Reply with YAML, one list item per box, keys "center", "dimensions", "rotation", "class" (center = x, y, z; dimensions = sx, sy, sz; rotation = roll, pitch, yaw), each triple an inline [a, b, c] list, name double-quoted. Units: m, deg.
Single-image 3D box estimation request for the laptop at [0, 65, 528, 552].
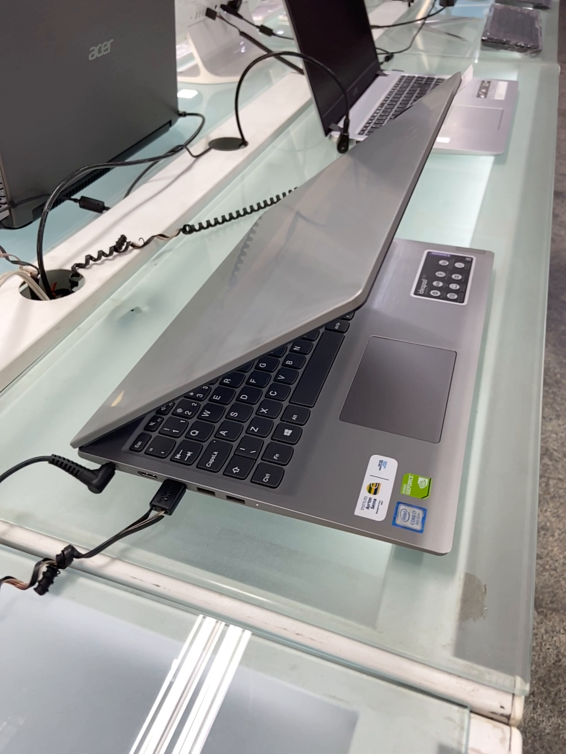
- center: [0.033, -0.098, 0.441]
  dimensions: [0.245, 0.160, 0.364]
  rotation: [11, 42, 15]
  class: "laptop"
